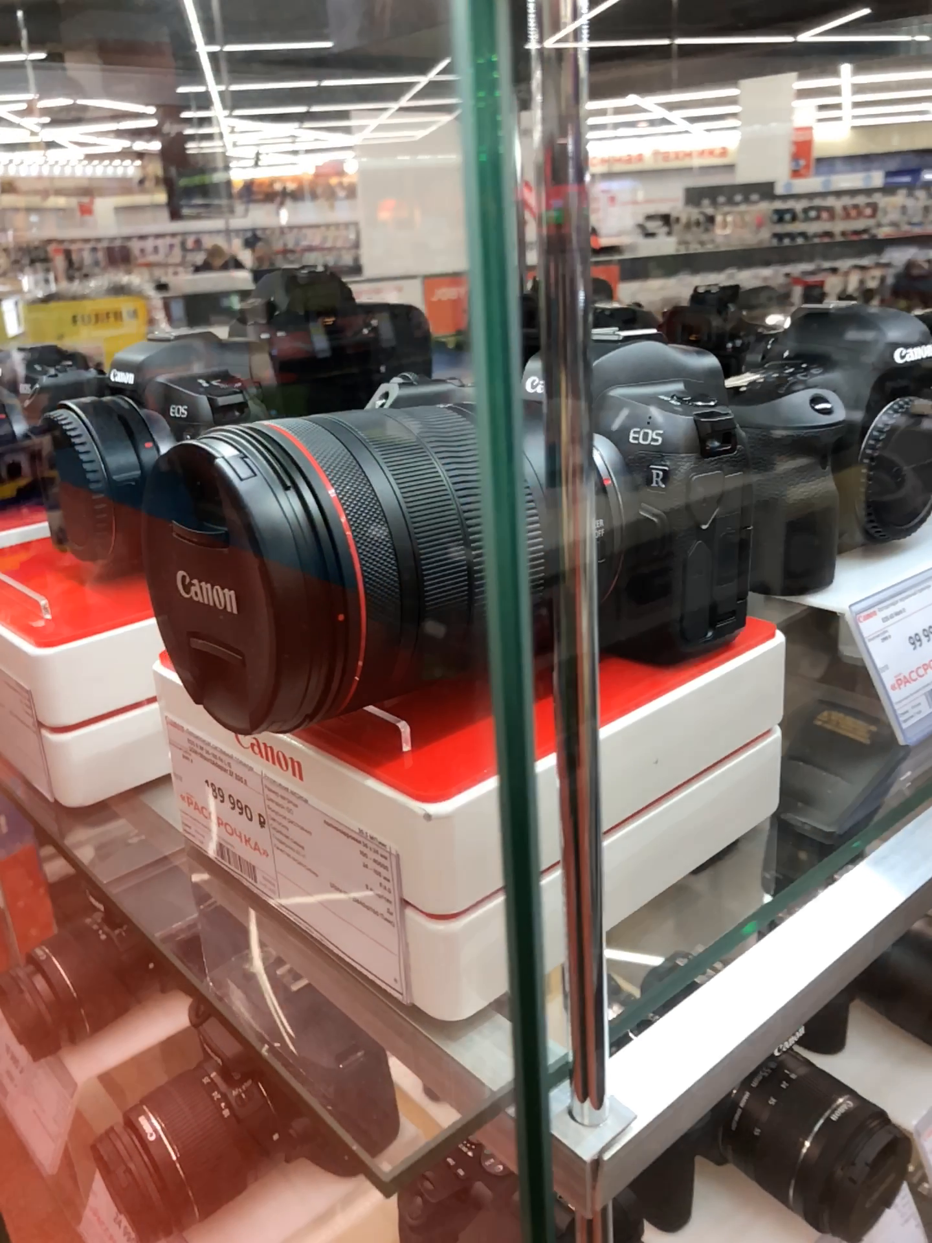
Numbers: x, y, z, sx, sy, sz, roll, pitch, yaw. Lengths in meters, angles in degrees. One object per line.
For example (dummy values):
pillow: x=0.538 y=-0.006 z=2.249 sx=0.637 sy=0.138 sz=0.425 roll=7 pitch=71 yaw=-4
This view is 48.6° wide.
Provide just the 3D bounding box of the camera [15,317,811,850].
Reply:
camera: x=-0.012 y=-0.035 z=0.315 sx=0.180 sy=0.093 sz=0.145 roll=-20 pitch=26 yaw=-38
